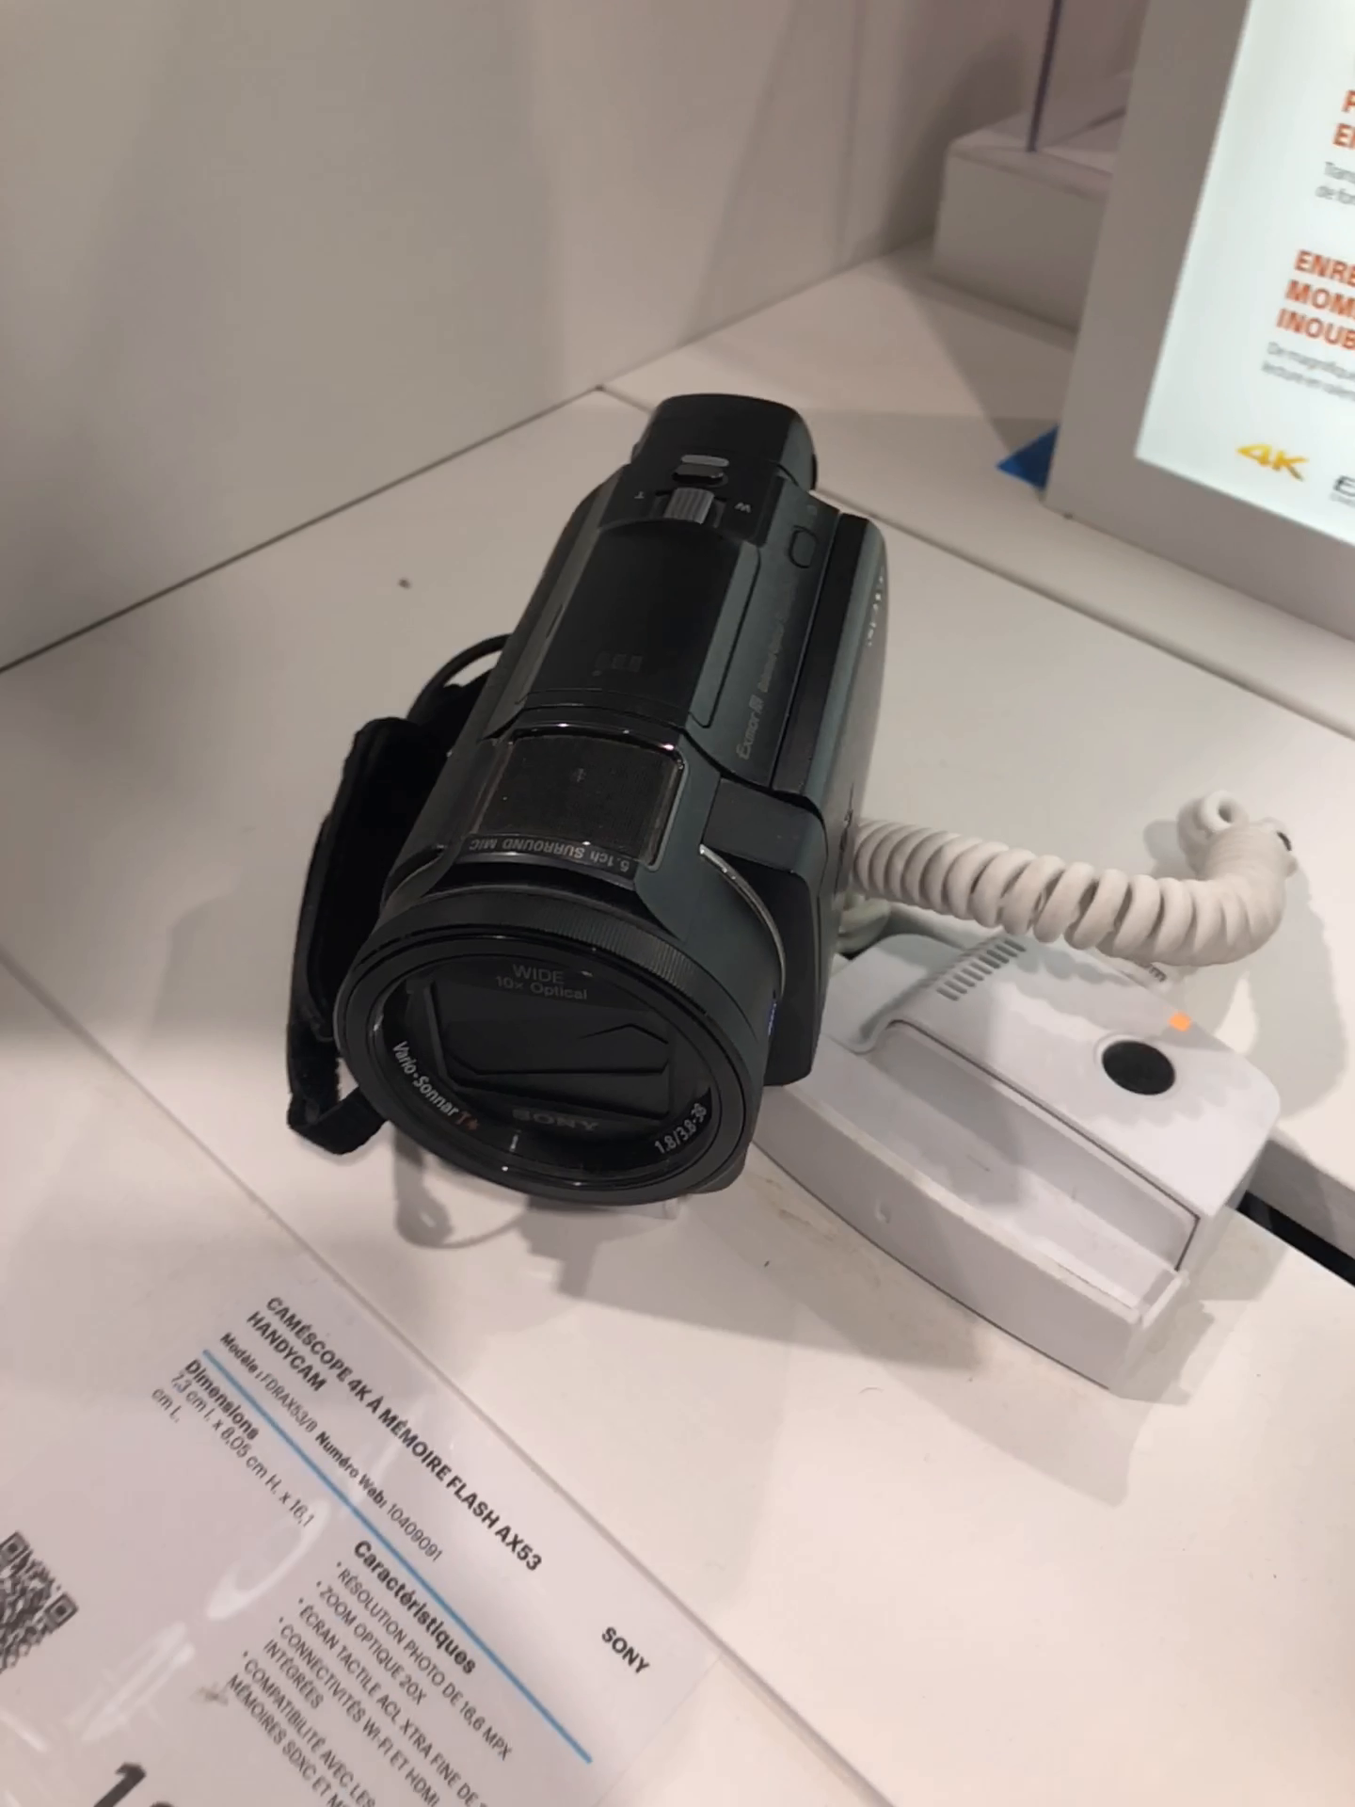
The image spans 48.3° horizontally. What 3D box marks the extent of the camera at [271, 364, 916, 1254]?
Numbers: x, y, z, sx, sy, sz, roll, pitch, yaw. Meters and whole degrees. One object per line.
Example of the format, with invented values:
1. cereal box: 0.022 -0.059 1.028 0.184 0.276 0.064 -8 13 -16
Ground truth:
1. camera: -0.004 -0.027 0.267 0.073 0.070 0.149 8 44 7
